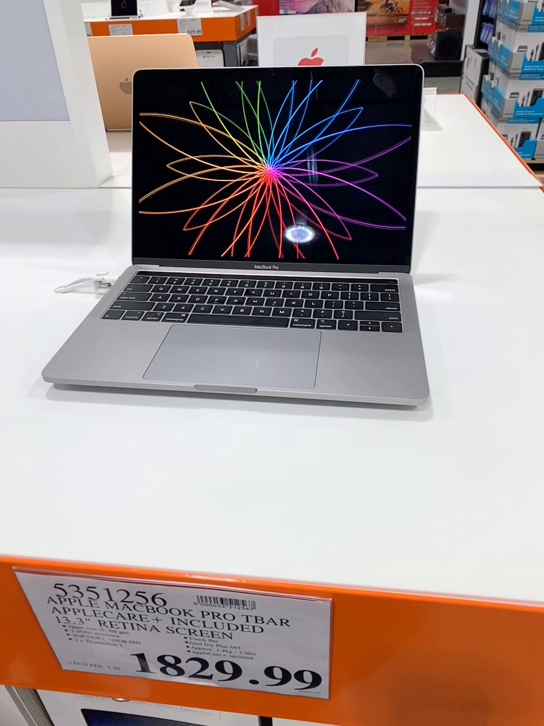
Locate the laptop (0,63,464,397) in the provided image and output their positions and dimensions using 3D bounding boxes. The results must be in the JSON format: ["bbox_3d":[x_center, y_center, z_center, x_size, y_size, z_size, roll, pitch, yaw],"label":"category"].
[{"bbox_3d":[-0.016,-0.140,0.483,0.289,0.165,0.308,3,36,8],"label":"laptop"}]
